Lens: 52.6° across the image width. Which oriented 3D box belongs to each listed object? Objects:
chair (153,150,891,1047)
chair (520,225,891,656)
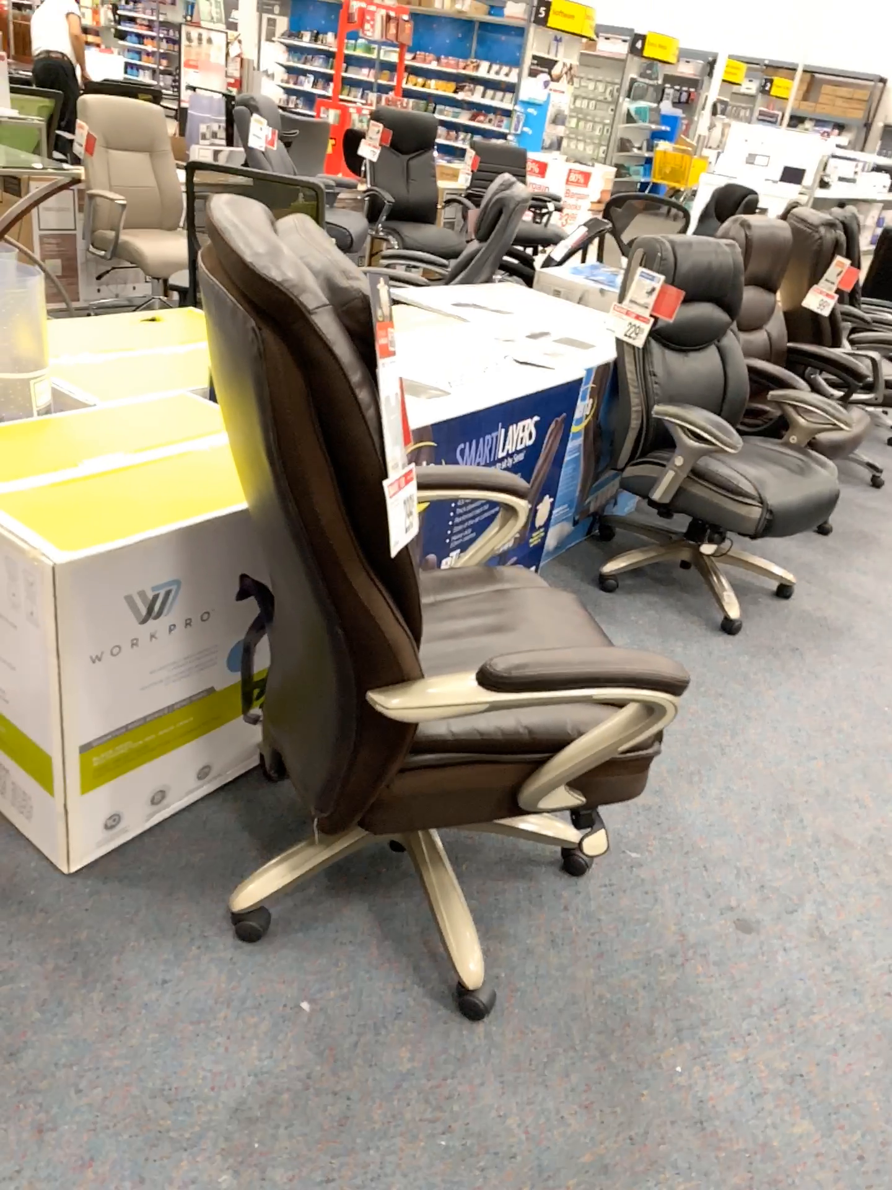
[{"bbox_3d":[0.014,-0.004,1.468,0.844,1.104,0.785,4,29,-15],"label":"chair"},{"bbox_3d":[0.828,-0.517,2.755,0.755,0.995,0.703,29,34,30],"label":"chair"}]
